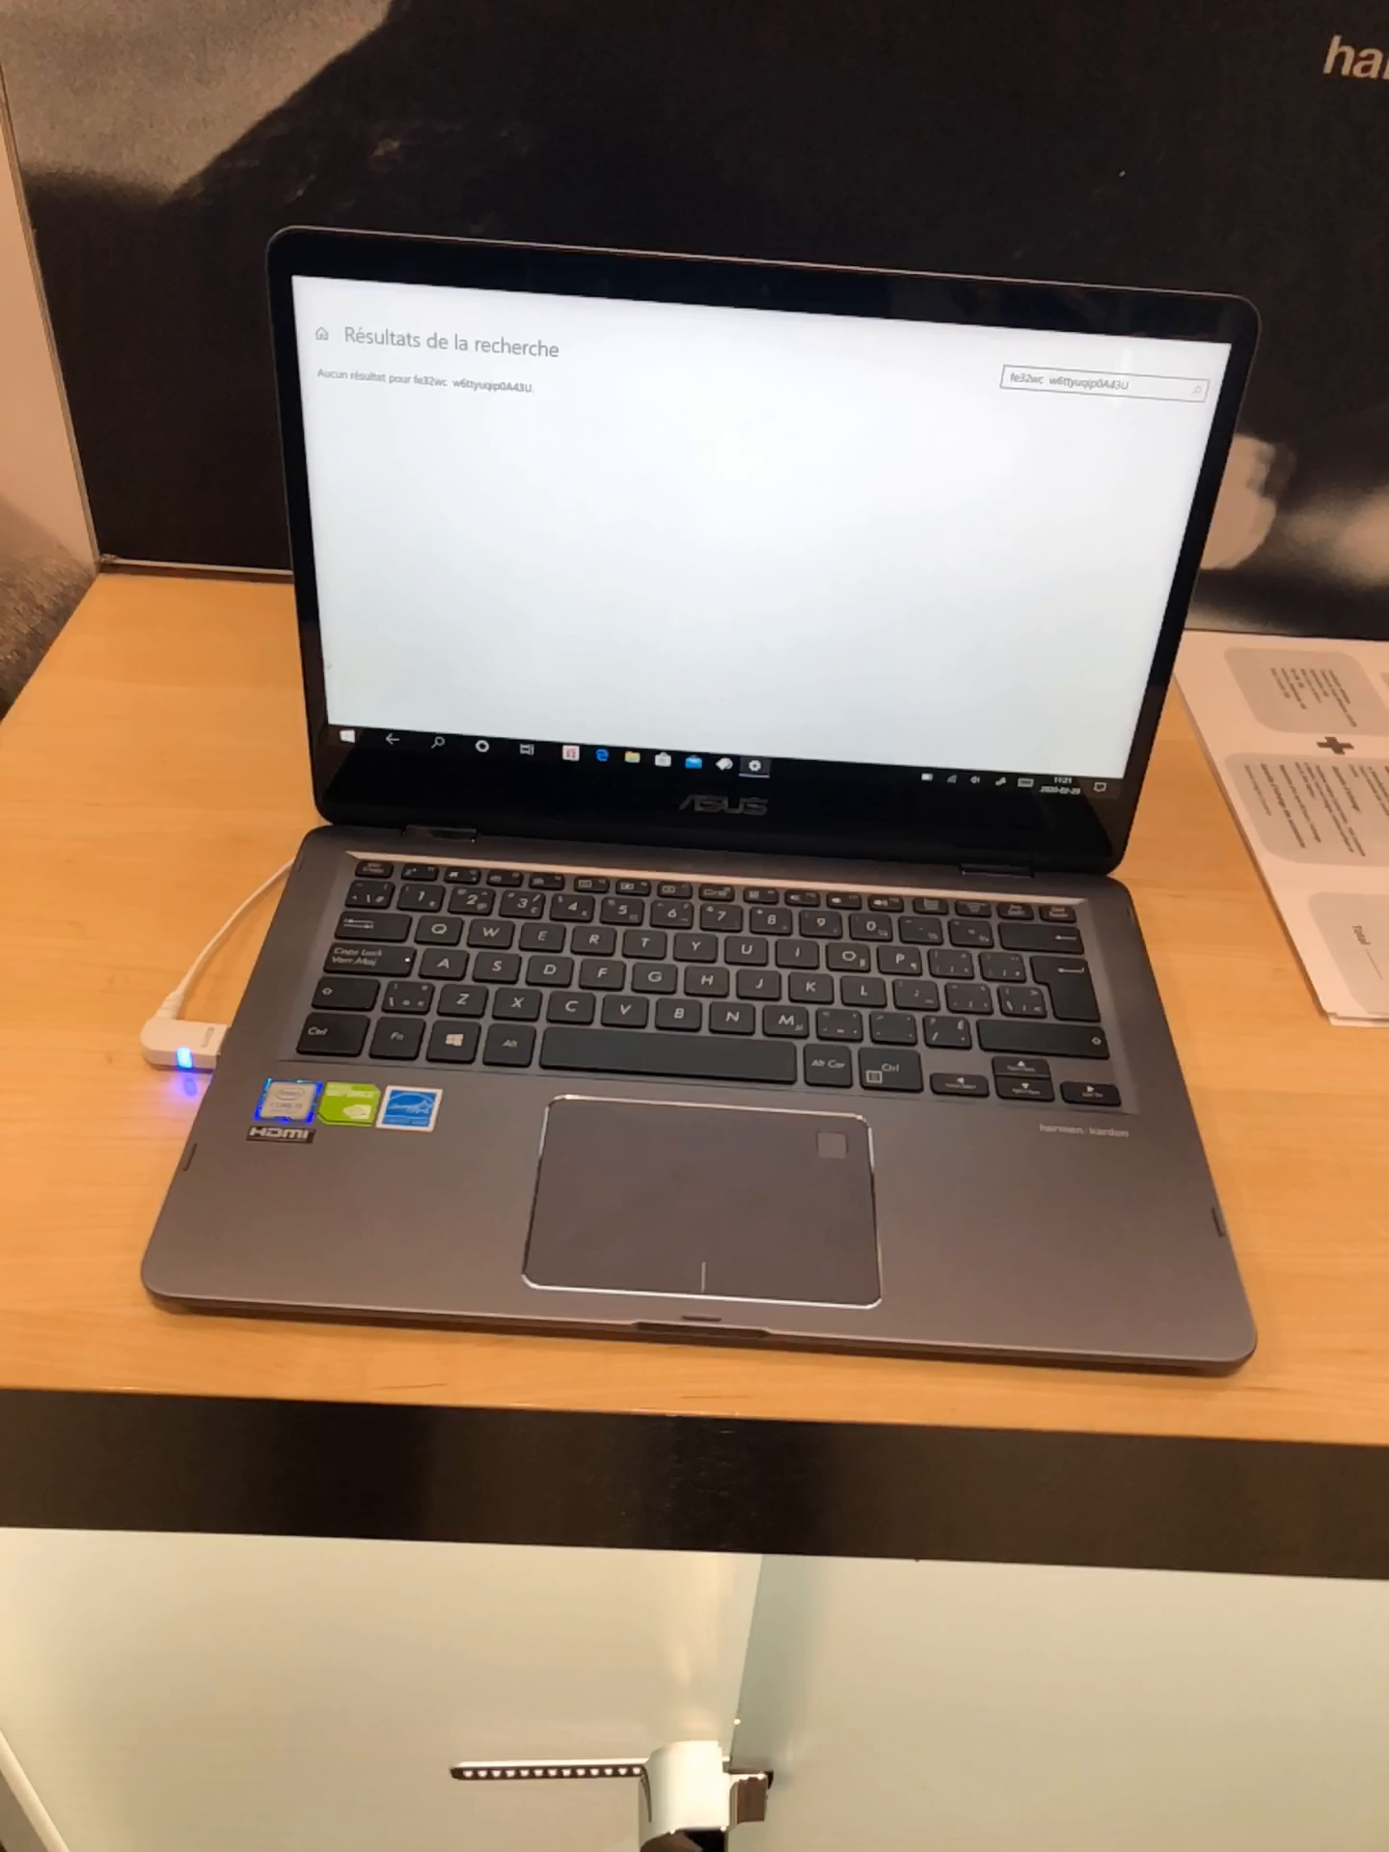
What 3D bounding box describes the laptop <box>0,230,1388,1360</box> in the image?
[{"bbox_3d":[0.013,-0.046,0.465,0.320,0.224,0.240,4,40,-1],"label":"laptop"}]
